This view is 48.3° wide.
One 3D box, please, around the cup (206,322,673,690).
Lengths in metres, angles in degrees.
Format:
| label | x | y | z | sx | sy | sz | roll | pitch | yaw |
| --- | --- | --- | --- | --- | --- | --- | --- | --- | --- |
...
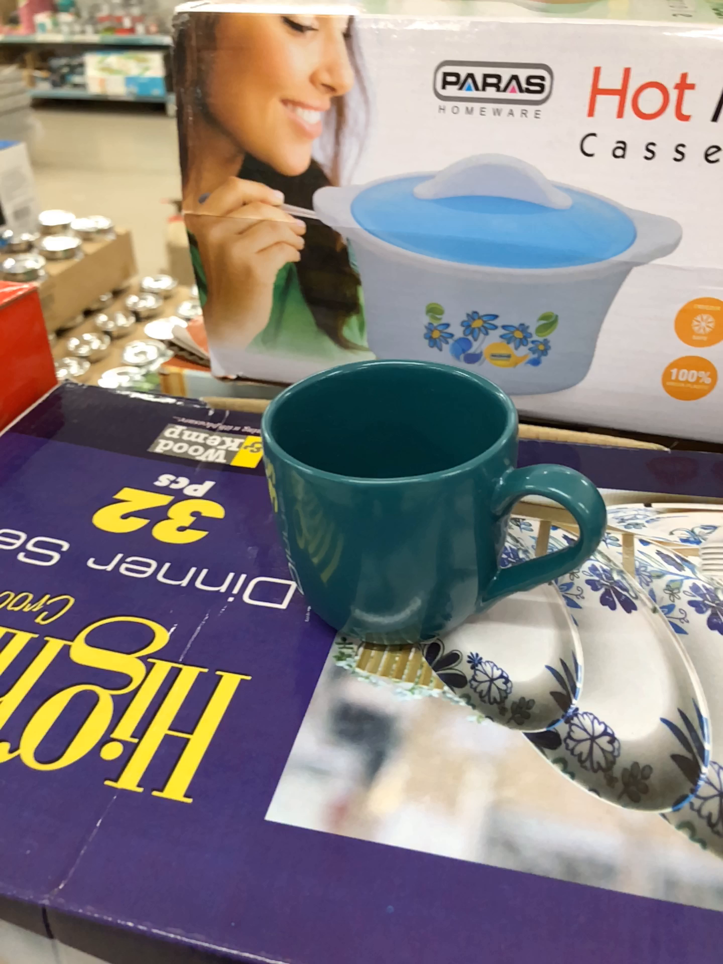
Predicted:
| label | x | y | z | sx | sy | sz | roll | pitch | yaw |
| --- | --- | --- | --- | --- | --- | --- | --- | --- | --- |
| cup | 0.020 | 0.001 | 0.192 | 0.090 | 0.050 | 0.060 | 8 | 35 | 12 |
